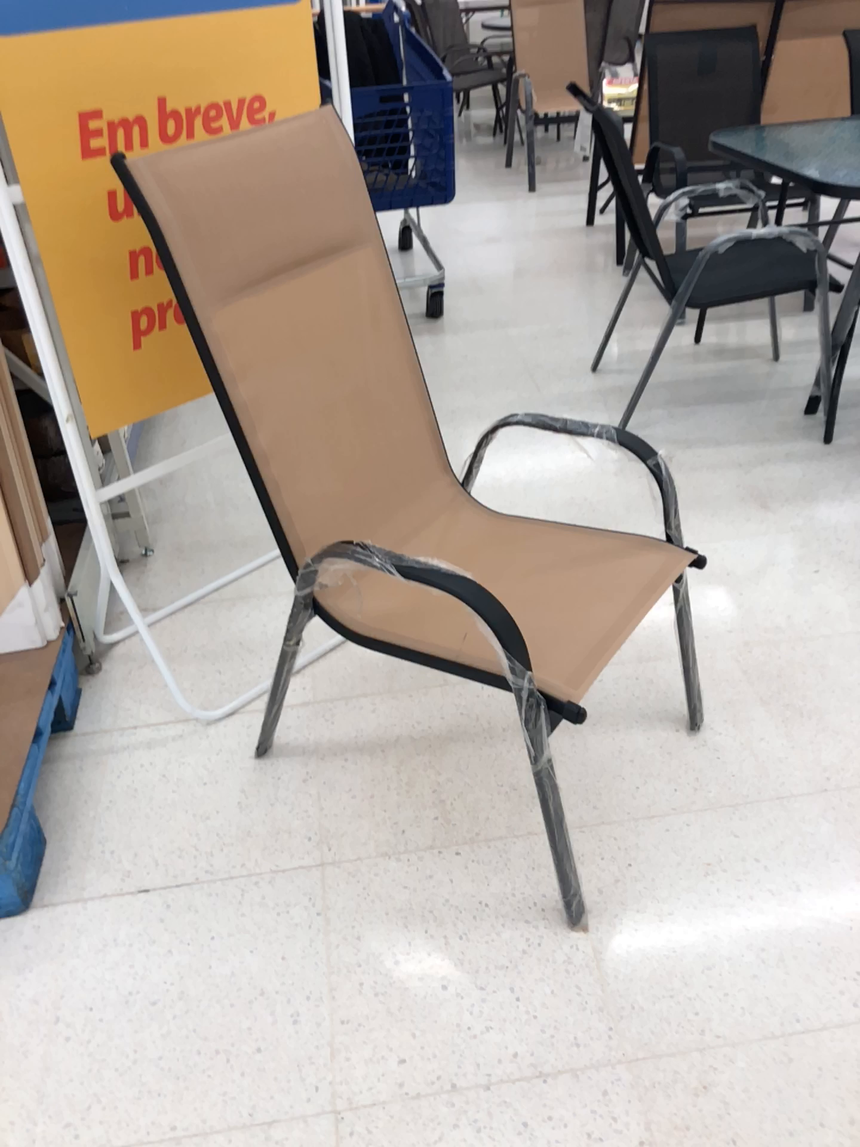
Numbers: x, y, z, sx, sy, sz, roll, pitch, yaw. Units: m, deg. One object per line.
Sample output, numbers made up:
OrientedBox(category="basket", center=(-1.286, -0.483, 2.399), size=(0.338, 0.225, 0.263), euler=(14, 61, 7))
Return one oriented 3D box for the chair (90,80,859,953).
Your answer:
OrientedBox(category="chair", center=(0.093, -0.136, 1.404), size=(0.701, 0.972, 0.624), euler=(19, 40, 30))
